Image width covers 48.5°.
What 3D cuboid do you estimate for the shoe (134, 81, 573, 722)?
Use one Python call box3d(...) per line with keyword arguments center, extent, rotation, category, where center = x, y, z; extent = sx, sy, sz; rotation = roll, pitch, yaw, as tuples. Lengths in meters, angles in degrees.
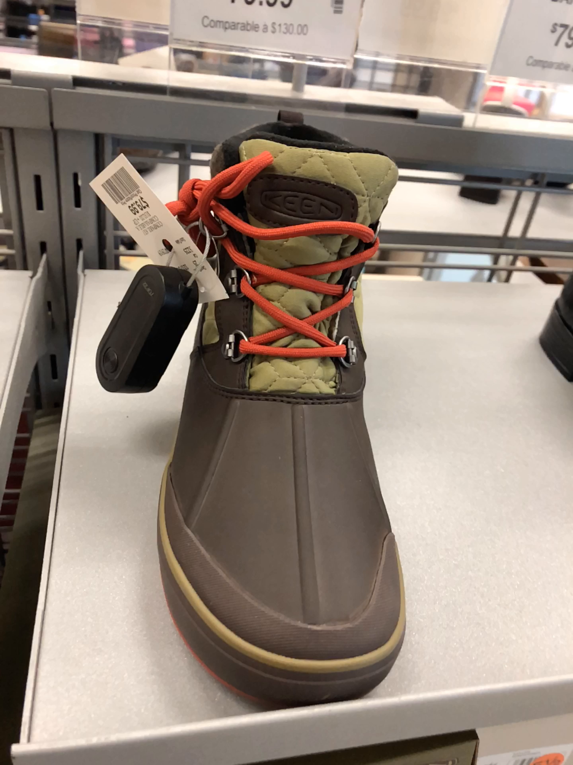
box3d(center=(-0.009, -0.024, 0.280), extent=(0.107, 0.139, 0.262), rotation=(1, 35, -13), category="shoe")
